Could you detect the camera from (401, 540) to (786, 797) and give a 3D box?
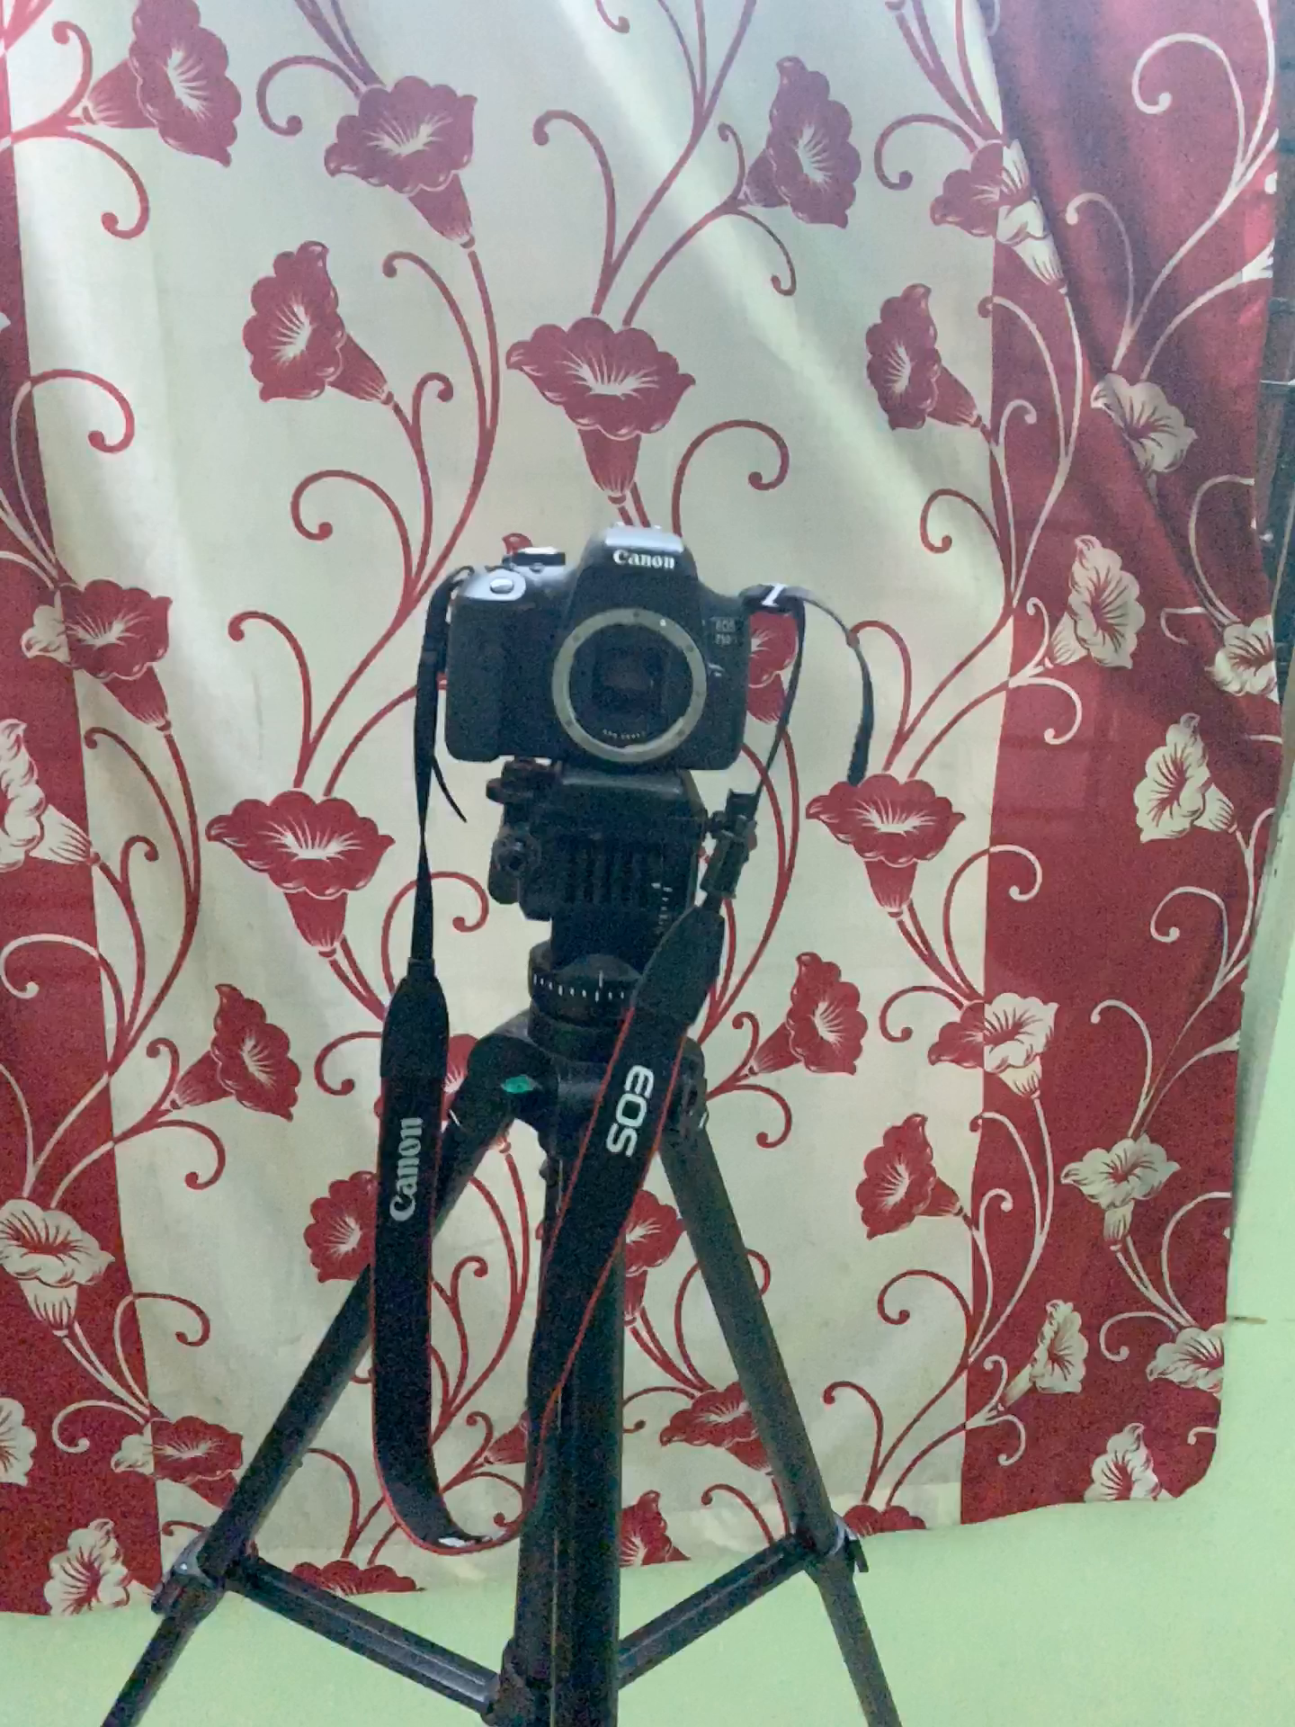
[{"bbox_3d":[-0.025,-0.082,0.544,0.142,0.088,0.085,2,14,-6],"label":"camera"}]
